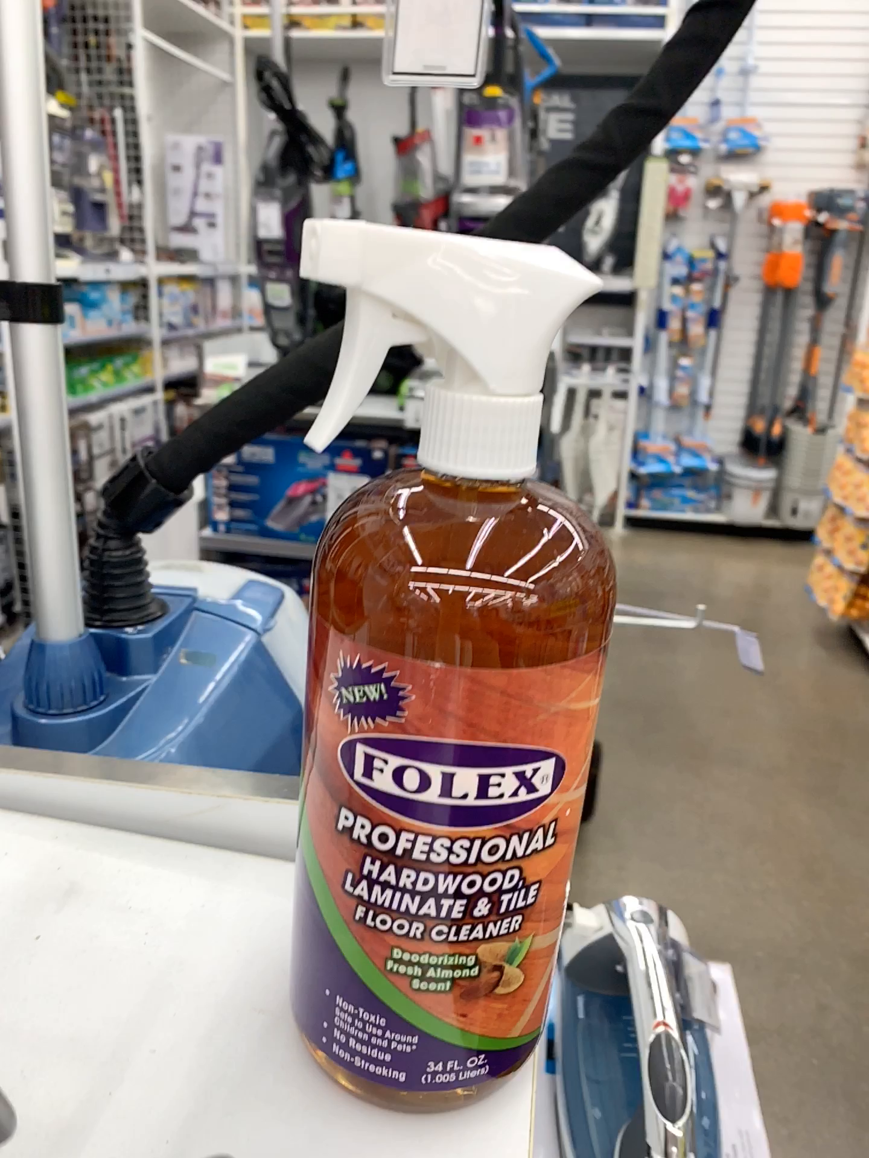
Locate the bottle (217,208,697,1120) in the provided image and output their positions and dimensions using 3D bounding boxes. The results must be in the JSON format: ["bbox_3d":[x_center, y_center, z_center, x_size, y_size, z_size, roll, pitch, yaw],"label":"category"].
[{"bbox_3d":[-0.001,0.028,0.271,0.100,0.249,0.090,2,19,-1],"label":"bottle"}]
